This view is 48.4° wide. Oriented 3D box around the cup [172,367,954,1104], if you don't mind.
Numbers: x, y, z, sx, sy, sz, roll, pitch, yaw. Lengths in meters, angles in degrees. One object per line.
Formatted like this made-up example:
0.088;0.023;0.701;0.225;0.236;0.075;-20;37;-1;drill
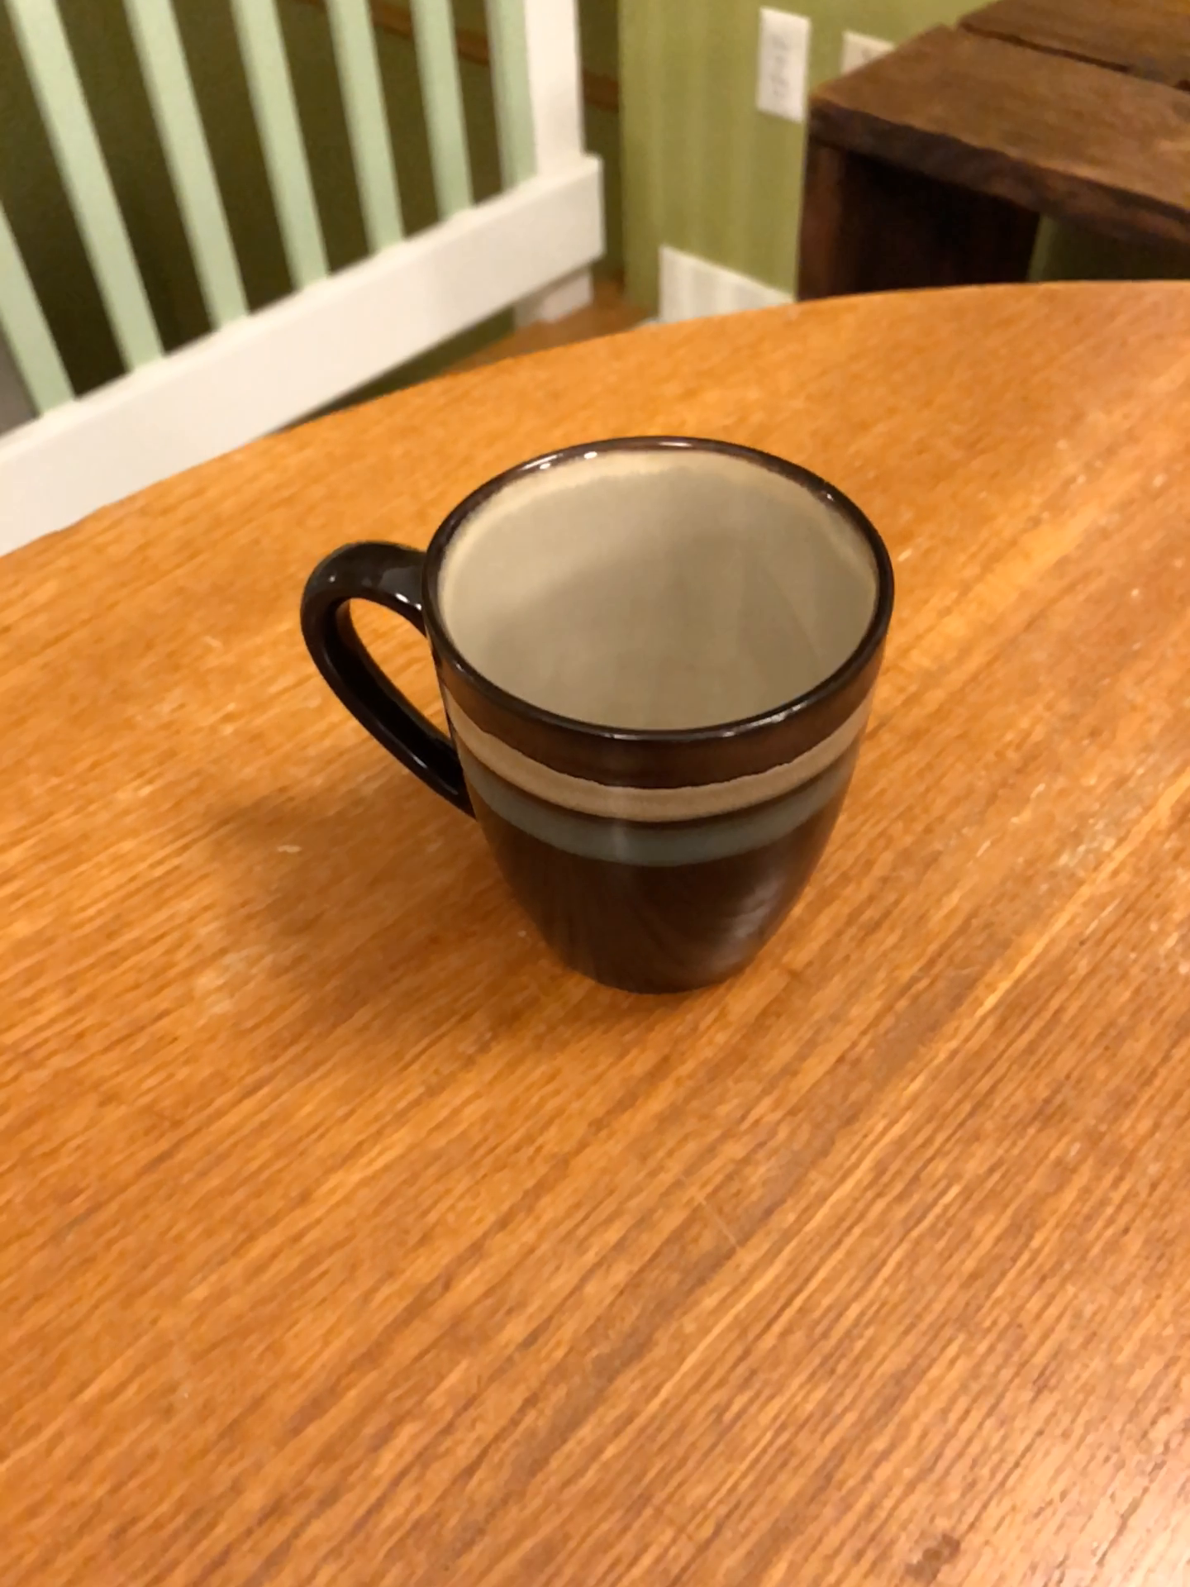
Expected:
-0.002;-0.017;0.298;0.125;0.094;0.099;18;51;18;cup
